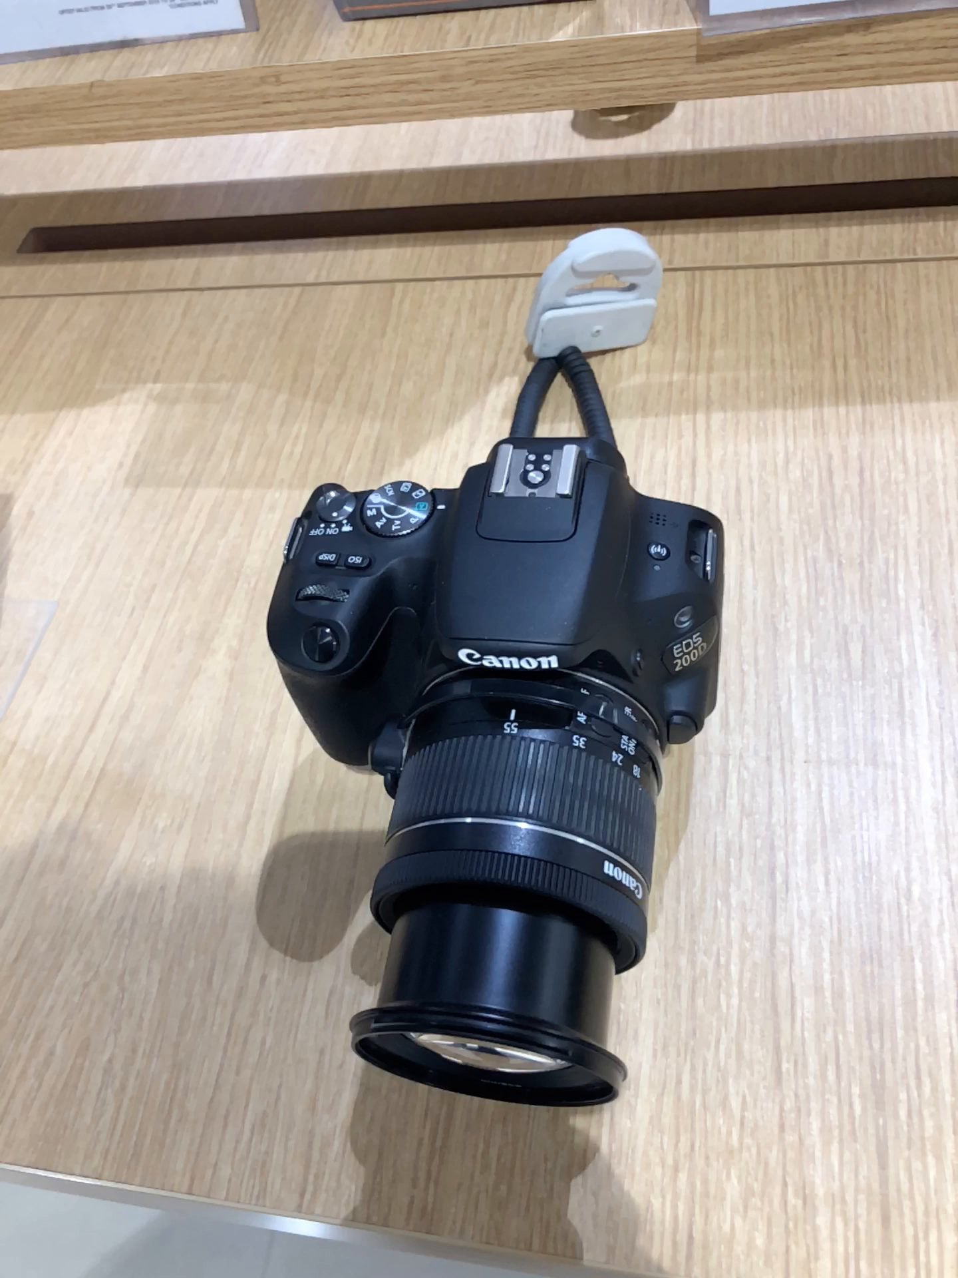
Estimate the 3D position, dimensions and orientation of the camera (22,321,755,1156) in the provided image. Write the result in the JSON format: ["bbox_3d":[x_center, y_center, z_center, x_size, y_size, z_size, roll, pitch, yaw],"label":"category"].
[{"bbox_3d":[0.000,0.018,0.254,0.120,0.099,0.161,2,55,13],"label":"camera"}]
